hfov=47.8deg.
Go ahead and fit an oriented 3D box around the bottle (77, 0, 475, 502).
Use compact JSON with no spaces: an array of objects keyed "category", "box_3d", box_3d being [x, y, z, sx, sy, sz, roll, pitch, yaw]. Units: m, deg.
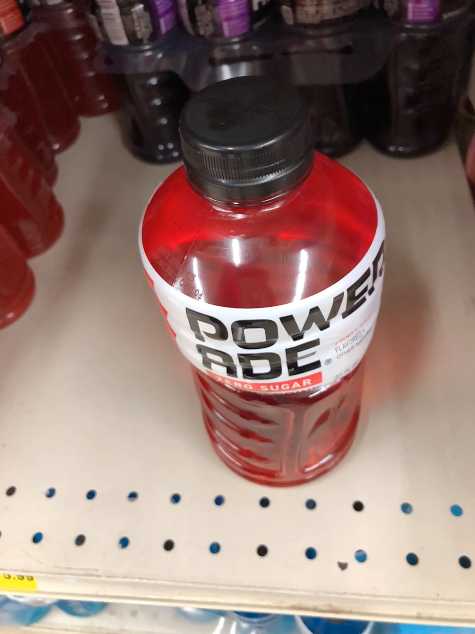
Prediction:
[{"category":"bottle","box_3d":[0.017,-0.005,0.226,0.095,0.190,0.095,-4,54,5]}]
